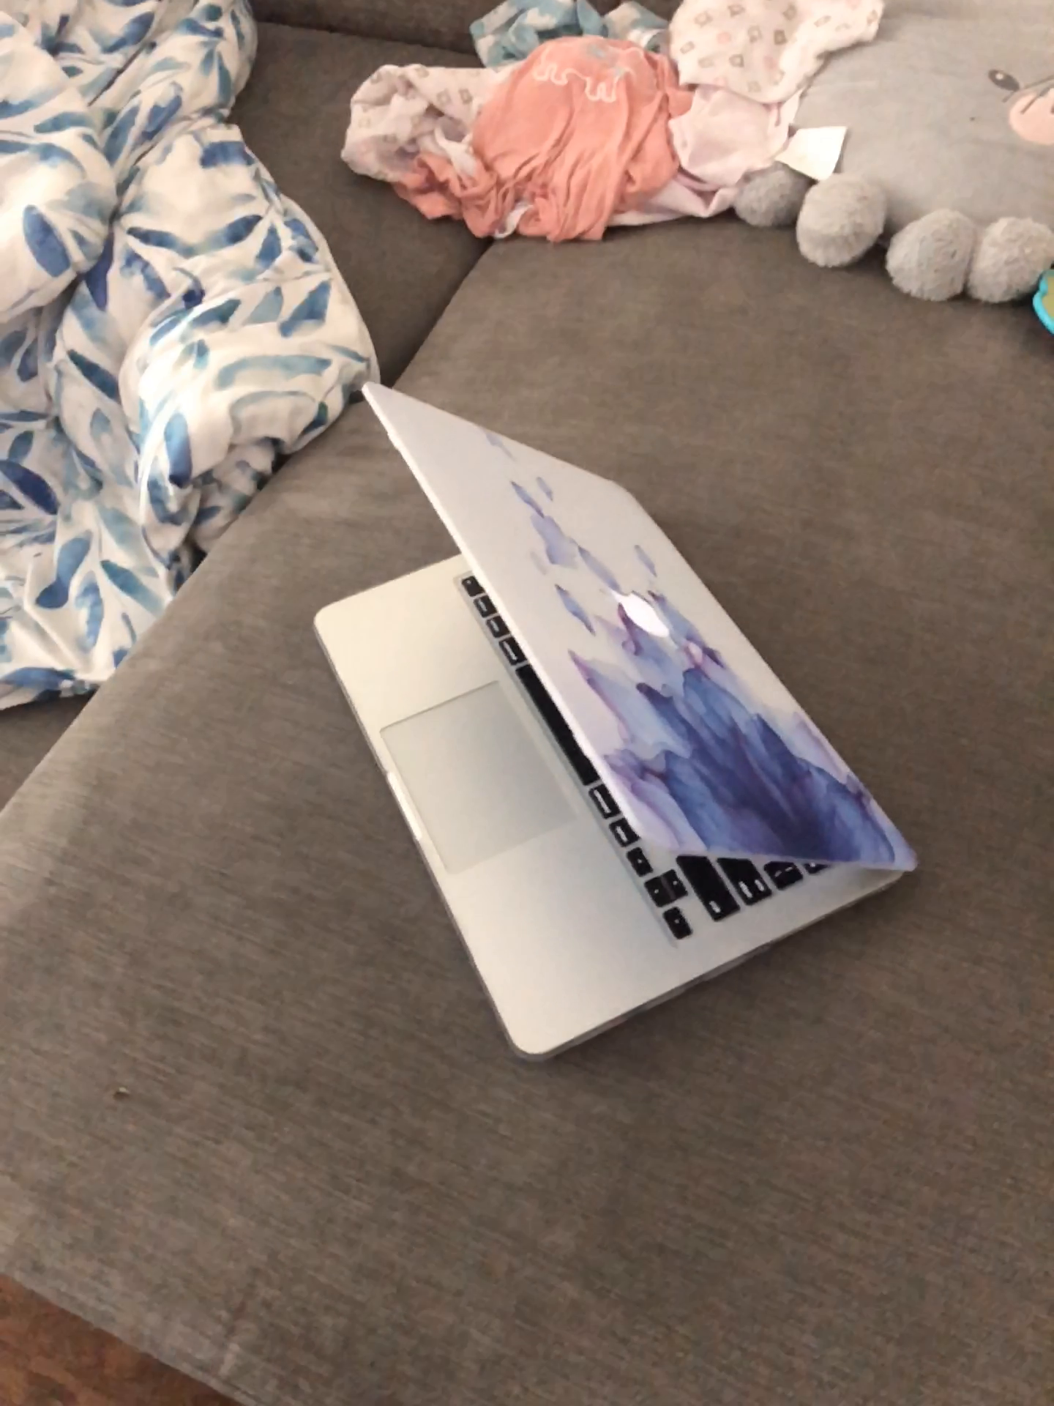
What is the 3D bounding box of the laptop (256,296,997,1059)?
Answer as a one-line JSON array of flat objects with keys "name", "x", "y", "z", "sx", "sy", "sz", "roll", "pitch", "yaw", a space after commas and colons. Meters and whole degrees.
[{"name": "laptop", "x": 0.028, "y": -0.030, "z": 0.584, "sx": 0.217, "sy": 0.137, "sz": 0.309, "roll": -23, "pitch": 55, "yaw": -12}]
